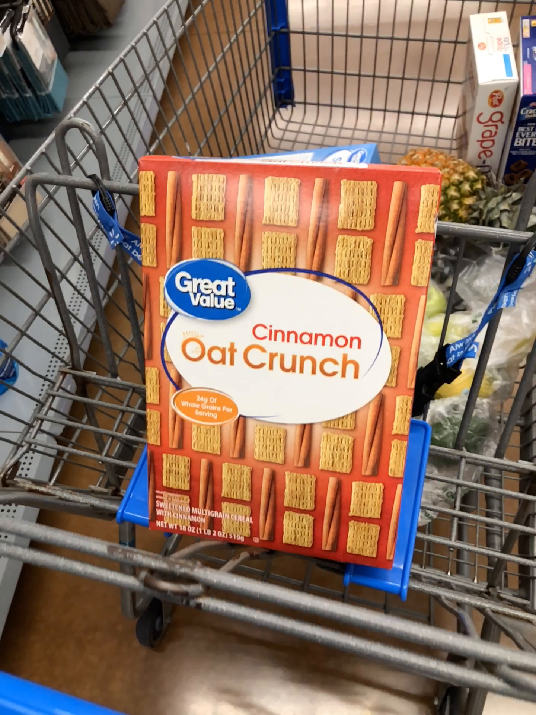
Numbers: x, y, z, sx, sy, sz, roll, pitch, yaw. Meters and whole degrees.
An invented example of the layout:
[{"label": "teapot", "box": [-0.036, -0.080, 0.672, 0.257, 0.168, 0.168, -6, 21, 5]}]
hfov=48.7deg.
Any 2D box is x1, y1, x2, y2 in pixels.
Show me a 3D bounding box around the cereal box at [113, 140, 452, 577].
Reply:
[{"label": "cereal box", "box": [0.003, 0.000, 0.422, 0.200, 0.280, 0.070, 7, 19, 10]}]
